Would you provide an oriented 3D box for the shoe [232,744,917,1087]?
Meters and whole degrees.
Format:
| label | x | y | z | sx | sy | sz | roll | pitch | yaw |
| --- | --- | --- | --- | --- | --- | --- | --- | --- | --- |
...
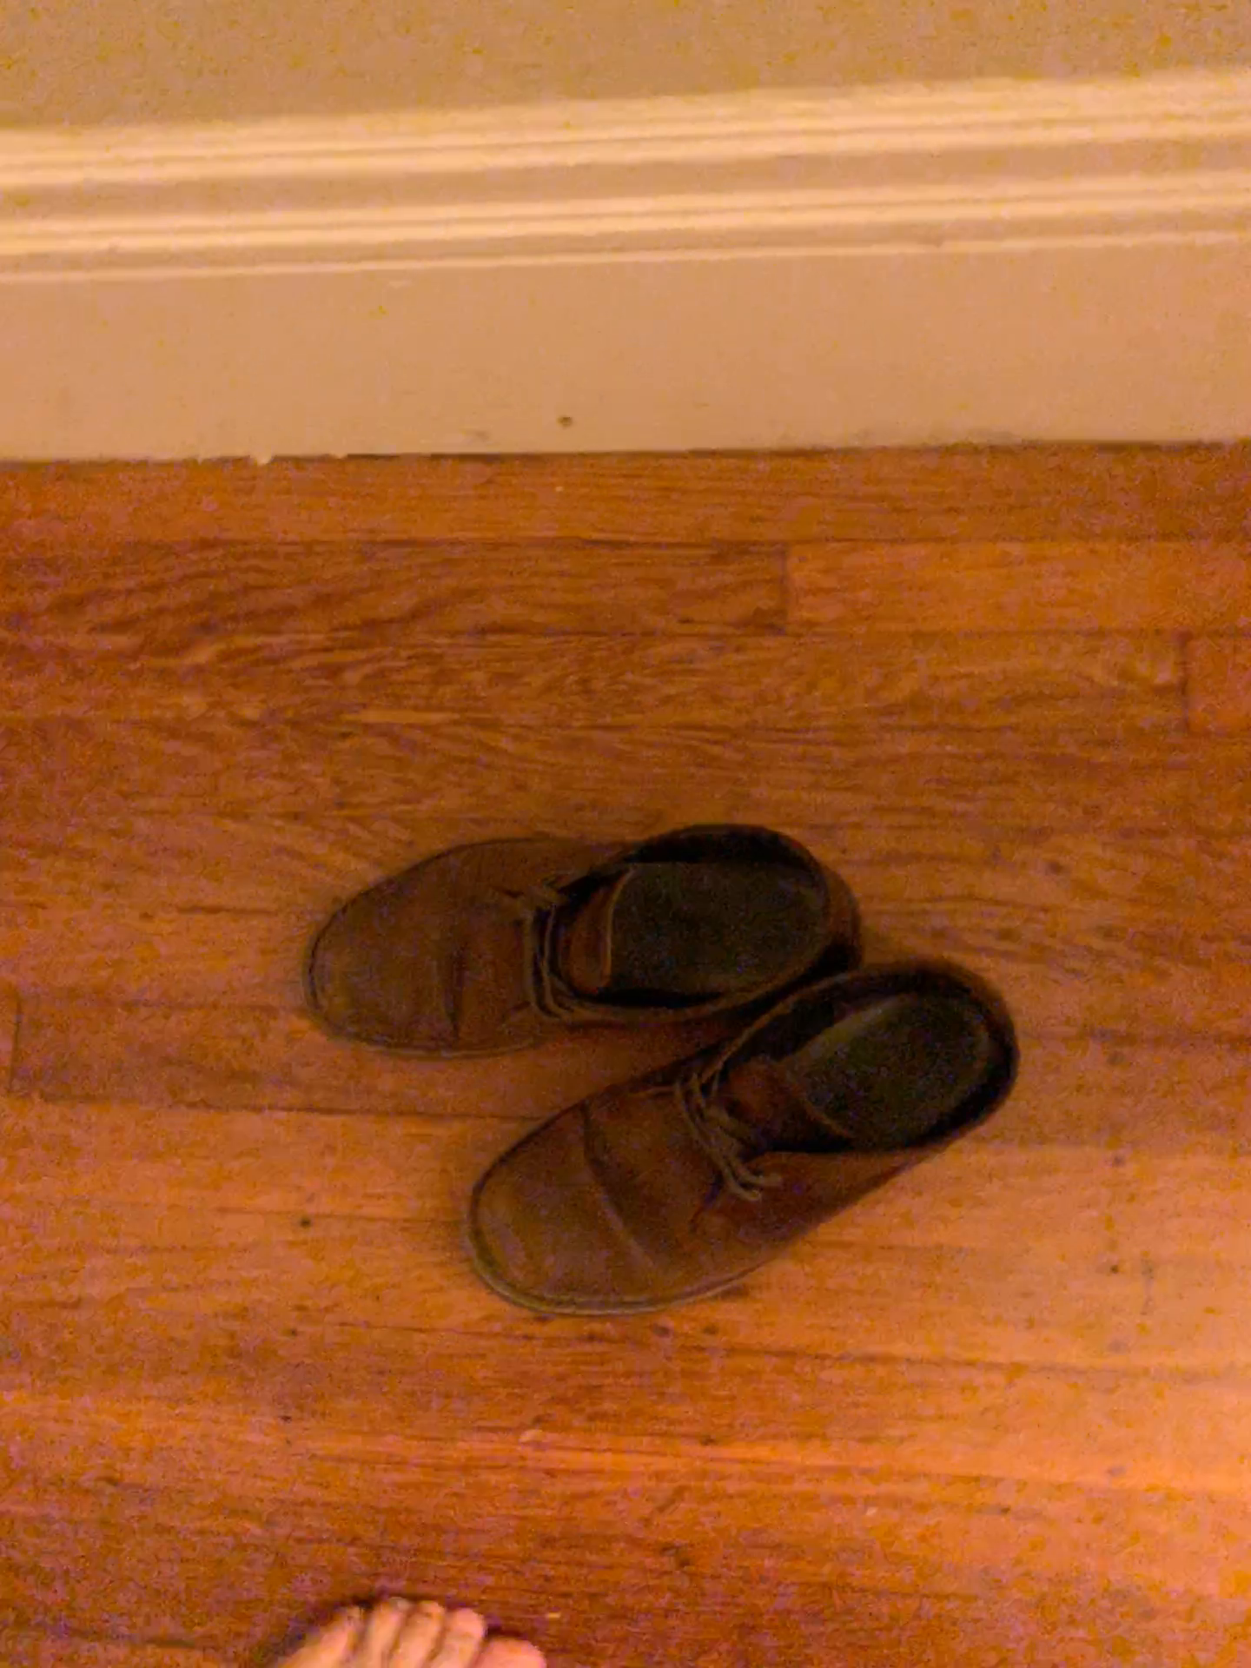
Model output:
| label | x | y | z | sx | sy | sz | roll | pitch | yaw |
| --- | --- | --- | --- | --- | --- | --- | --- | --- | --- |
| shoe | -0.022 | 0.046 | 0.616 | 0.290 | 0.120 | 0.120 | -6 | 79 | 5 |

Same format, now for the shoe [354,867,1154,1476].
| label | x | y | z | sx | sy | sz | roll | pitch | yaw |
| --- | --- | --- | --- | --- | --- | --- | --- | --- | --- |
| shoe | 0.054 | 0.145 | 0.580 | 0.300 | 0.120 | 0.120 | -27 | 78 | 1 |
